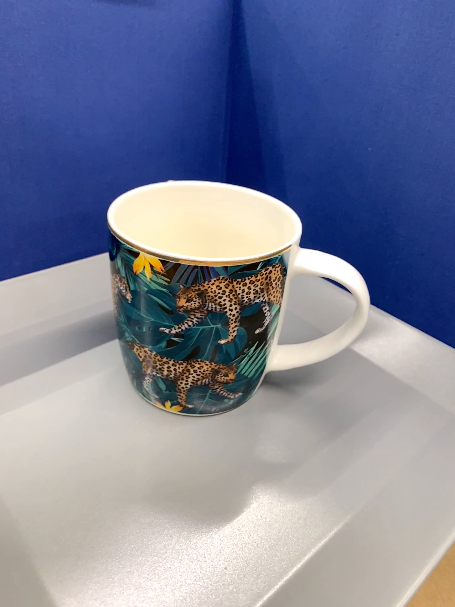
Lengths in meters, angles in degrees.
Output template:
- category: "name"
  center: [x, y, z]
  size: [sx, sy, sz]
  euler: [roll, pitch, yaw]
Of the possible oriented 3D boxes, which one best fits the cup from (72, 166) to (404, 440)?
- category: "cup"
  center: [0.003, -0.006, 0.242]
  size: [0.125, 0.091, 0.093]
  euler: [6, 30, 2]
